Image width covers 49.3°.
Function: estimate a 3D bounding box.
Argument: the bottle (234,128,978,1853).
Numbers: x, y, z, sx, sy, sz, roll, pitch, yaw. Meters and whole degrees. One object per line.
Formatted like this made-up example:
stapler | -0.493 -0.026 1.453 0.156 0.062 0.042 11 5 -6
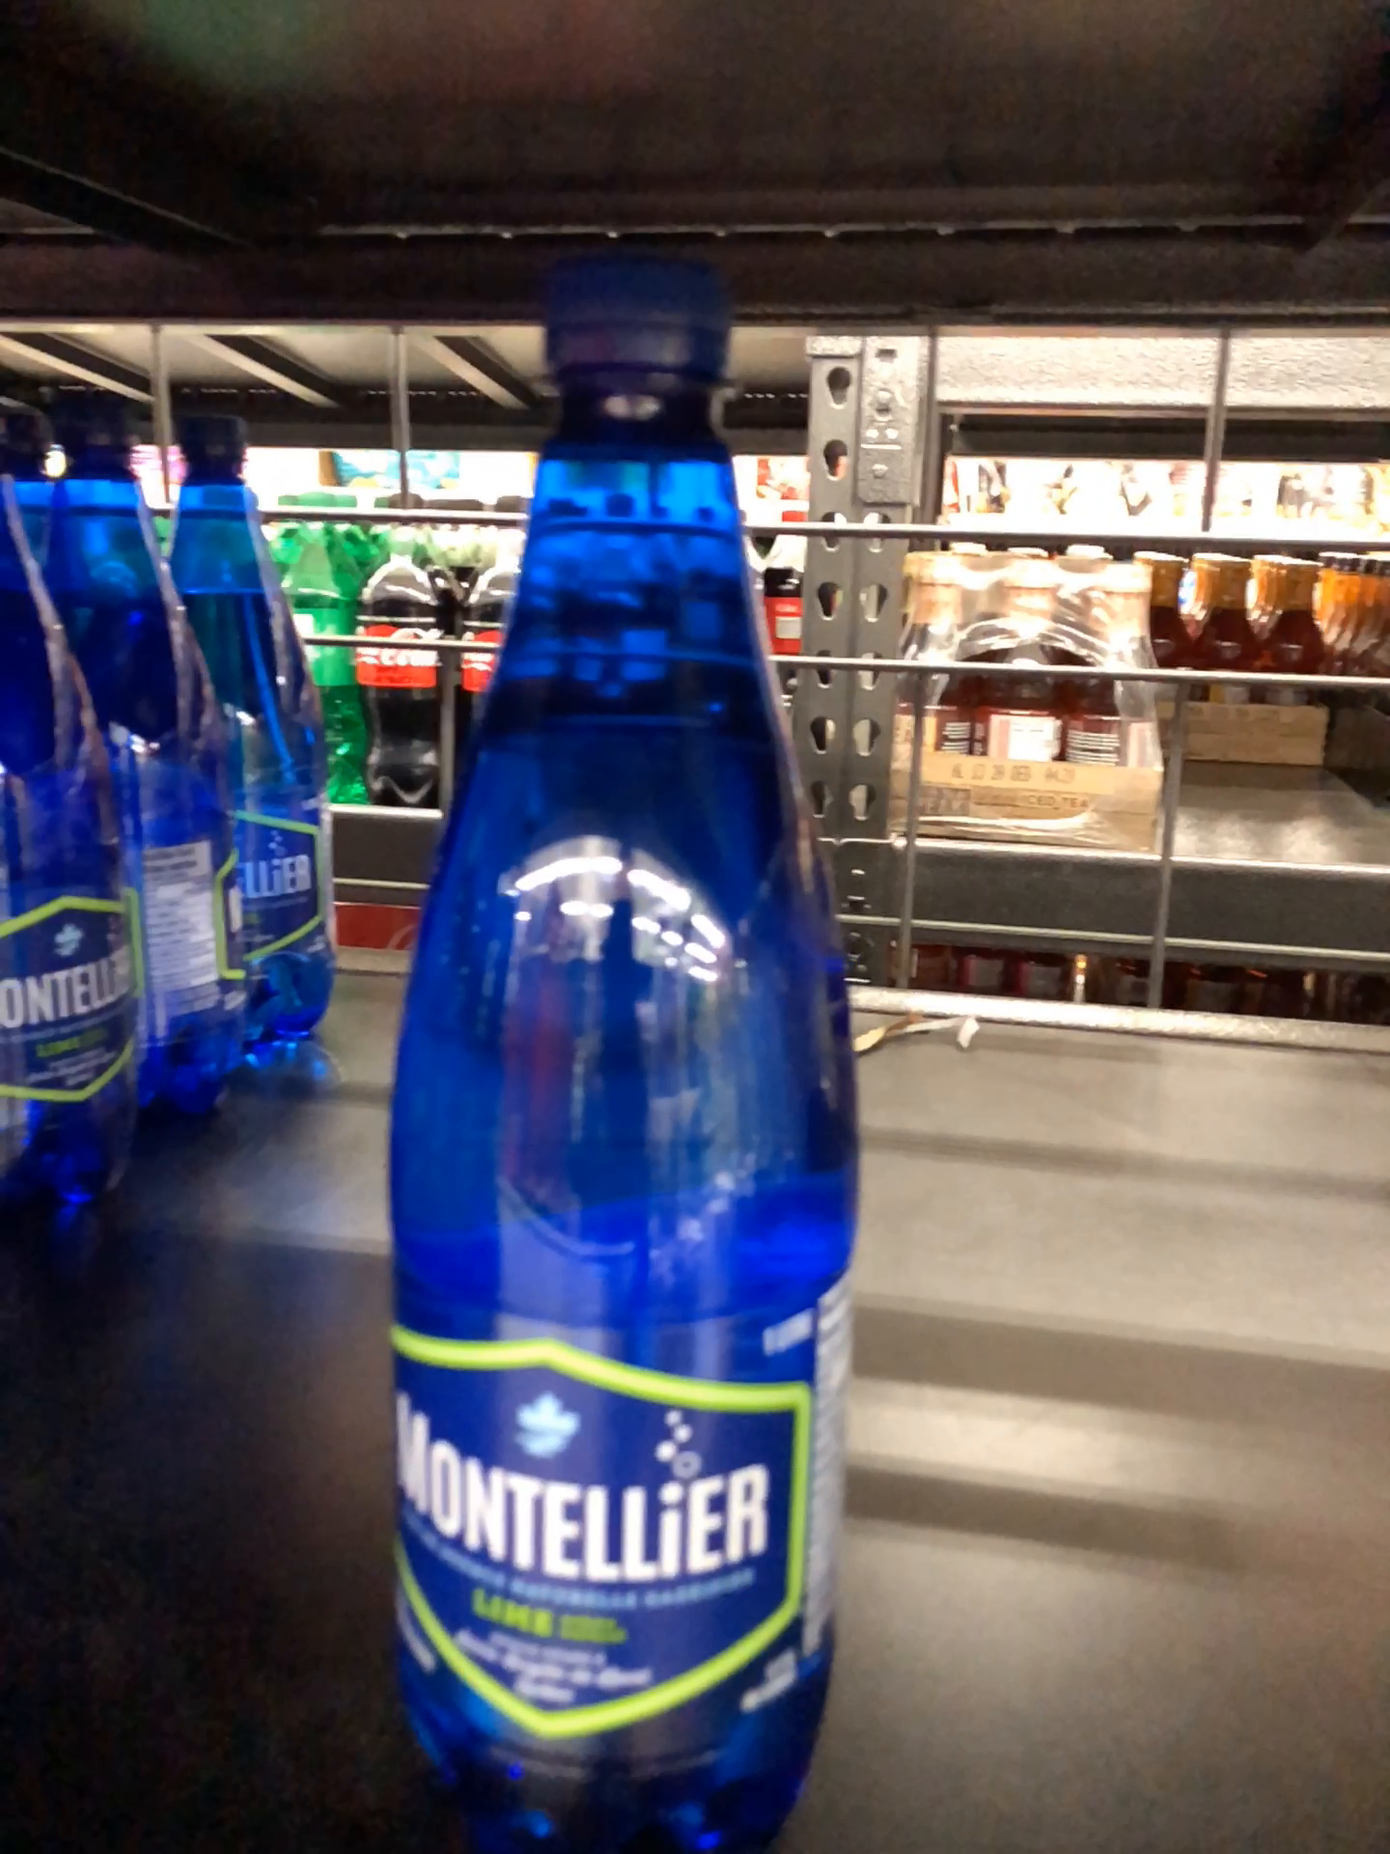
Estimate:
bottle | -0.010 0.023 0.281 0.100 0.289 0.090 4 14 12
